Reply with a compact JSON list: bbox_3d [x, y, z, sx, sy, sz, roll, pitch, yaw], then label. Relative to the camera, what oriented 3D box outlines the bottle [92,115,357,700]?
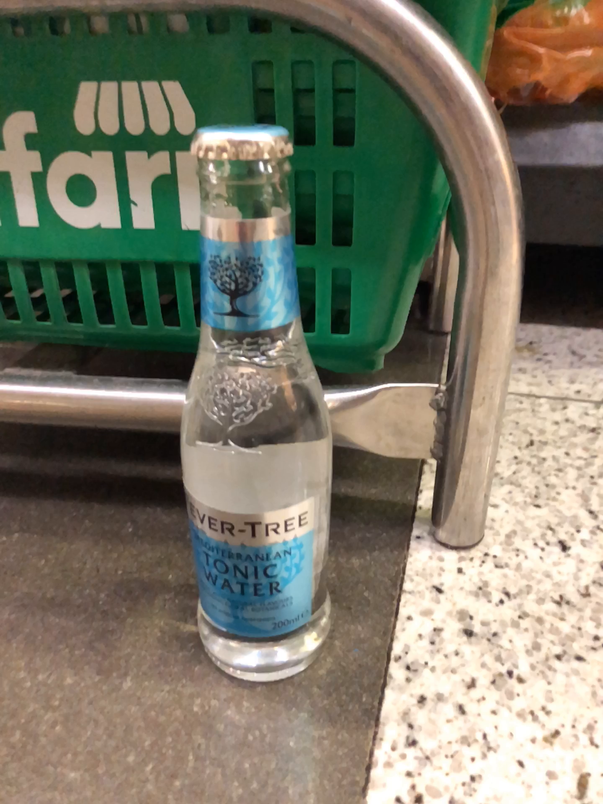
[{"bbox_3d":[-0.016,0.009,0.223,0.060,0.189,0.050,4,27,9],"label":"bottle"}]
